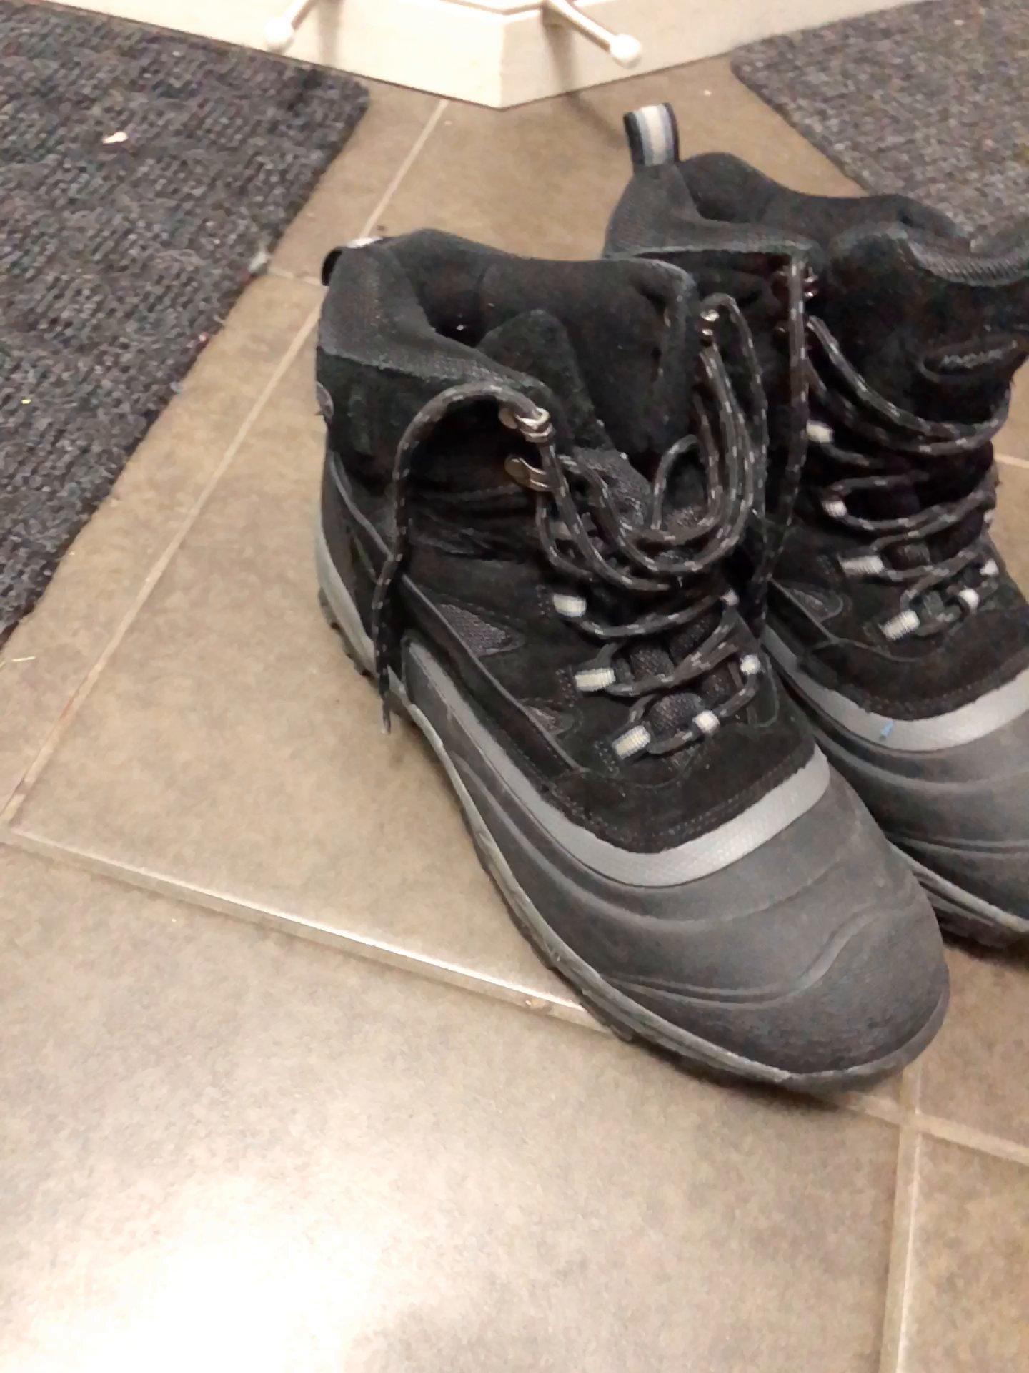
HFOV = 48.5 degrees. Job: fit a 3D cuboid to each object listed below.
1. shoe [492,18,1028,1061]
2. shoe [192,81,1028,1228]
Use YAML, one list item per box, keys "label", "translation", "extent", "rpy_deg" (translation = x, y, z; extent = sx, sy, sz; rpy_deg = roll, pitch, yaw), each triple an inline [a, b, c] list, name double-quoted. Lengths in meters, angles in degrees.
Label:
- label: "shoe"
  translation: [0.130, -0.052, 0.403]
  extent: [0.120, 0.200, 0.290]
  rpy_deg: [-29, 63, -22]
- label: "shoe"
  translation: [0.032, -0.011, 0.368]
  extent: [0.120, 0.200, 0.290]
  rpy_deg: [-28, 63, -22]
